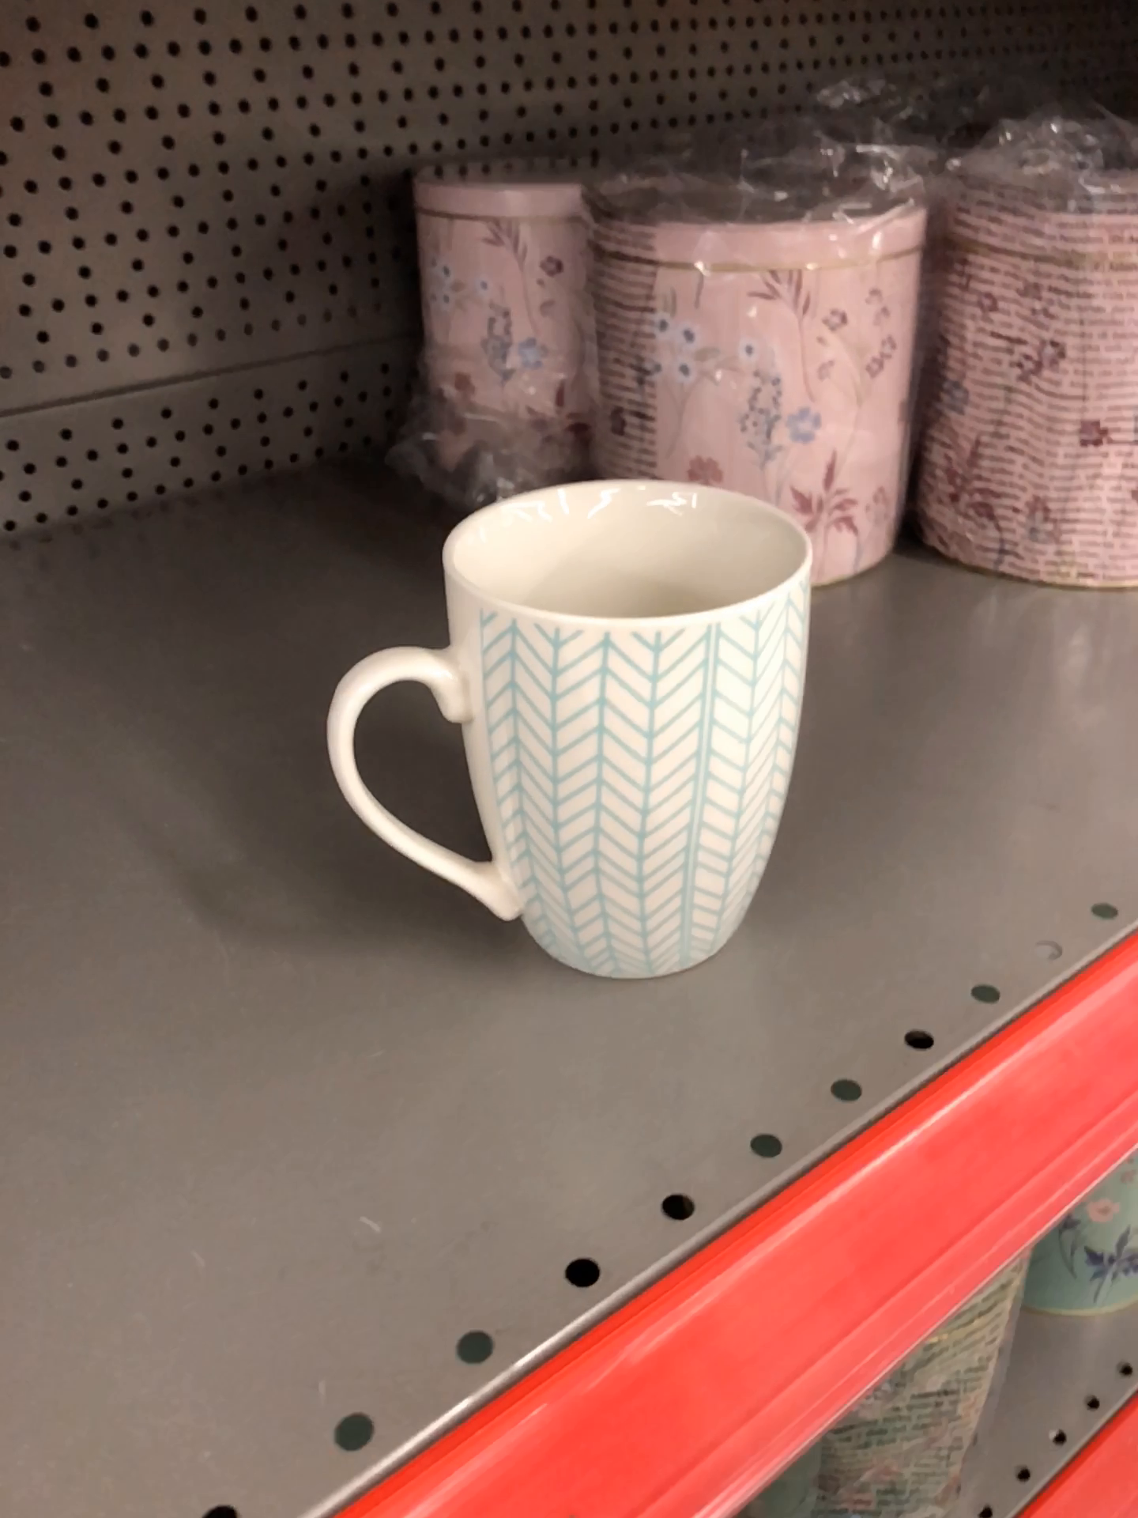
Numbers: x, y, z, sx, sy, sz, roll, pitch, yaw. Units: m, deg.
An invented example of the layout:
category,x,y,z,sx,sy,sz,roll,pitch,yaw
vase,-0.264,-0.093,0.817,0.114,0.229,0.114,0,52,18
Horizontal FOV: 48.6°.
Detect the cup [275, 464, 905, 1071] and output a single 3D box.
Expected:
category,x,y,z,sx,sy,sz,roll,pitch,yaw
cup,0.000,-0.005,0.313,0.119,0.096,0.093,-11,34,-16
